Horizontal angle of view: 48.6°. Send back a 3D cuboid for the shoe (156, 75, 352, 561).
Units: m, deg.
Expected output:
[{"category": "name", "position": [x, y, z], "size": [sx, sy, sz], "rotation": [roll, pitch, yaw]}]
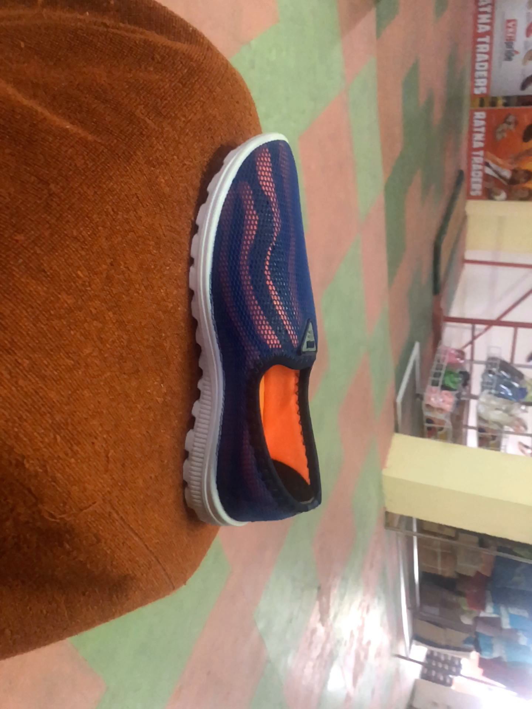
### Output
[{"category": "shoe", "position": [-0.005, -0.021, 0.368], "size": [0.091, 0.070, 0.260], "rotation": [-10, 106, -66]}]
